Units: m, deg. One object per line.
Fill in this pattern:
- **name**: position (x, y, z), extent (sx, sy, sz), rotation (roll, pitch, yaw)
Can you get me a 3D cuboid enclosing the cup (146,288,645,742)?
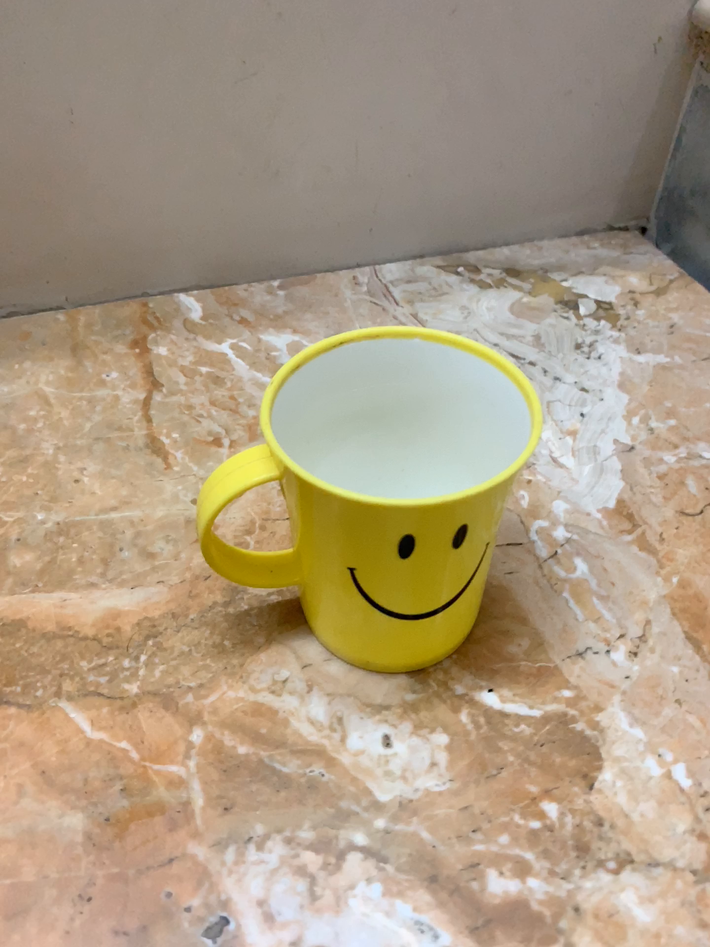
- **cup**: position (0.006, 0.011, 0.220), extent (0.110, 0.089, 0.071), rotation (-13, 46, -13)
